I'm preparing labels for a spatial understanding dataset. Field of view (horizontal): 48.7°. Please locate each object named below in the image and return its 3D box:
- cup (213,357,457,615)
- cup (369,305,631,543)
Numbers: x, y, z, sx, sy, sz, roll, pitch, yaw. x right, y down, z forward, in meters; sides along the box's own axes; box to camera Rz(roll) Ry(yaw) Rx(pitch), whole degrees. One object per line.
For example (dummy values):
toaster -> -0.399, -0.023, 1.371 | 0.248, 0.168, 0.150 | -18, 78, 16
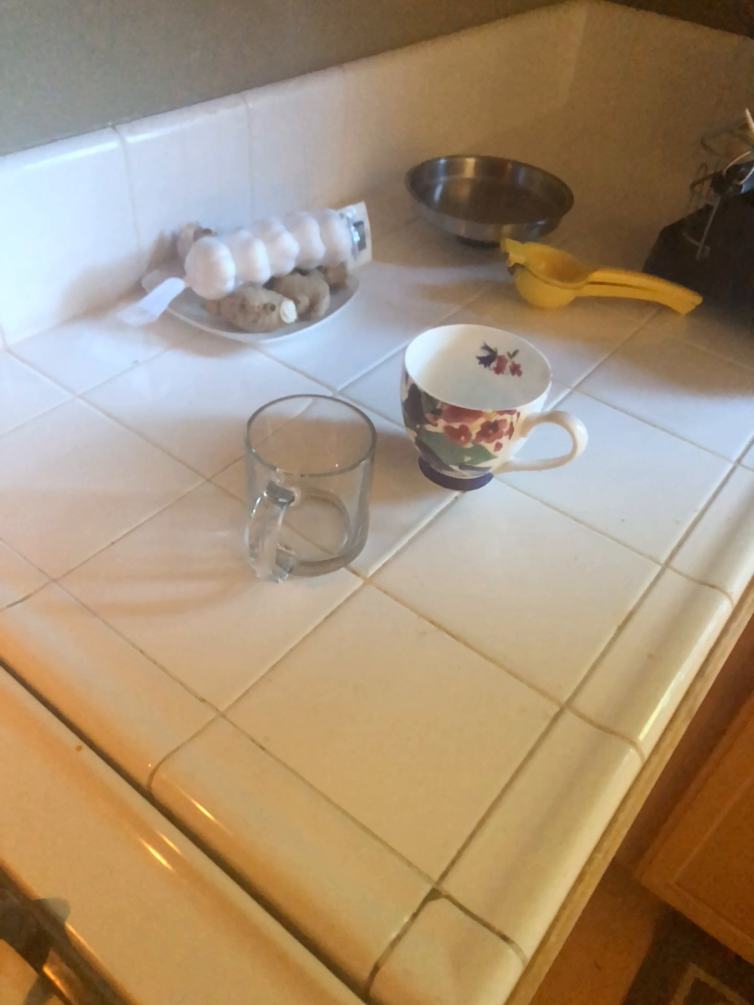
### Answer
cup -> -0.025, -0.016, 0.545 | 0.100, 0.079, 0.131 | 23, 45, 17
cup -> 0.085, -0.063, 0.607 | 0.140, 0.079, 0.111 | 36, 50, 27
